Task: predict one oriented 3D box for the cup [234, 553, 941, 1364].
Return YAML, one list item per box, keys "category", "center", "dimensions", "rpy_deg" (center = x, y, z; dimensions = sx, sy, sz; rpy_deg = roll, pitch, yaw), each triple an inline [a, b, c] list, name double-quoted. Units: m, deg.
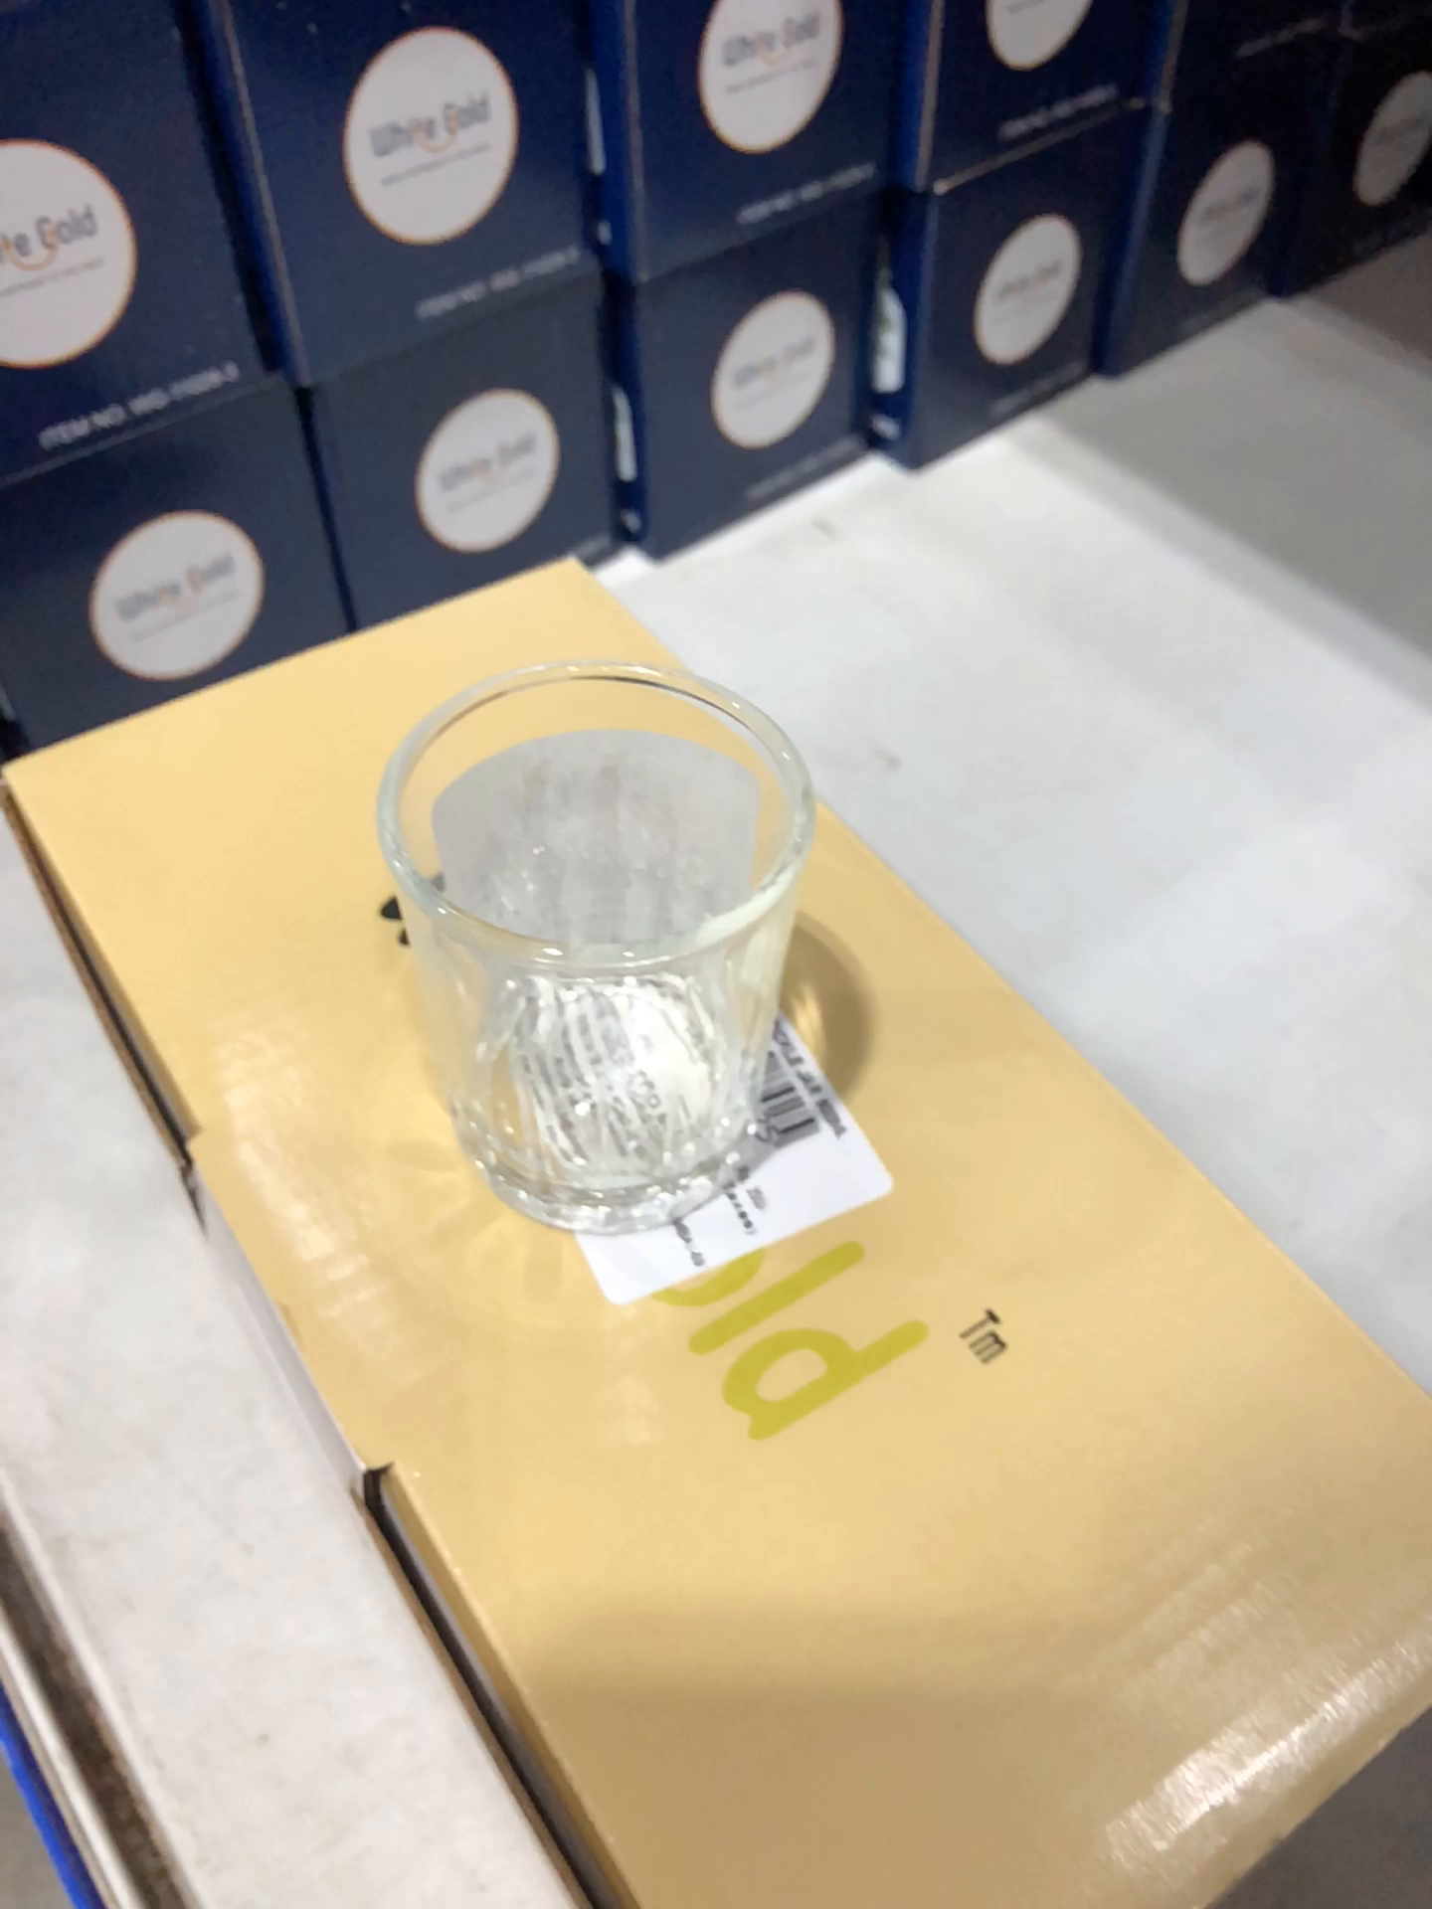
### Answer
- category: "cup"
  center: [-0.012, 0.000, 0.185]
  dimensions: [0.050, 0.060, 0.050]
  rpy_deg: [0, 49, 0]
